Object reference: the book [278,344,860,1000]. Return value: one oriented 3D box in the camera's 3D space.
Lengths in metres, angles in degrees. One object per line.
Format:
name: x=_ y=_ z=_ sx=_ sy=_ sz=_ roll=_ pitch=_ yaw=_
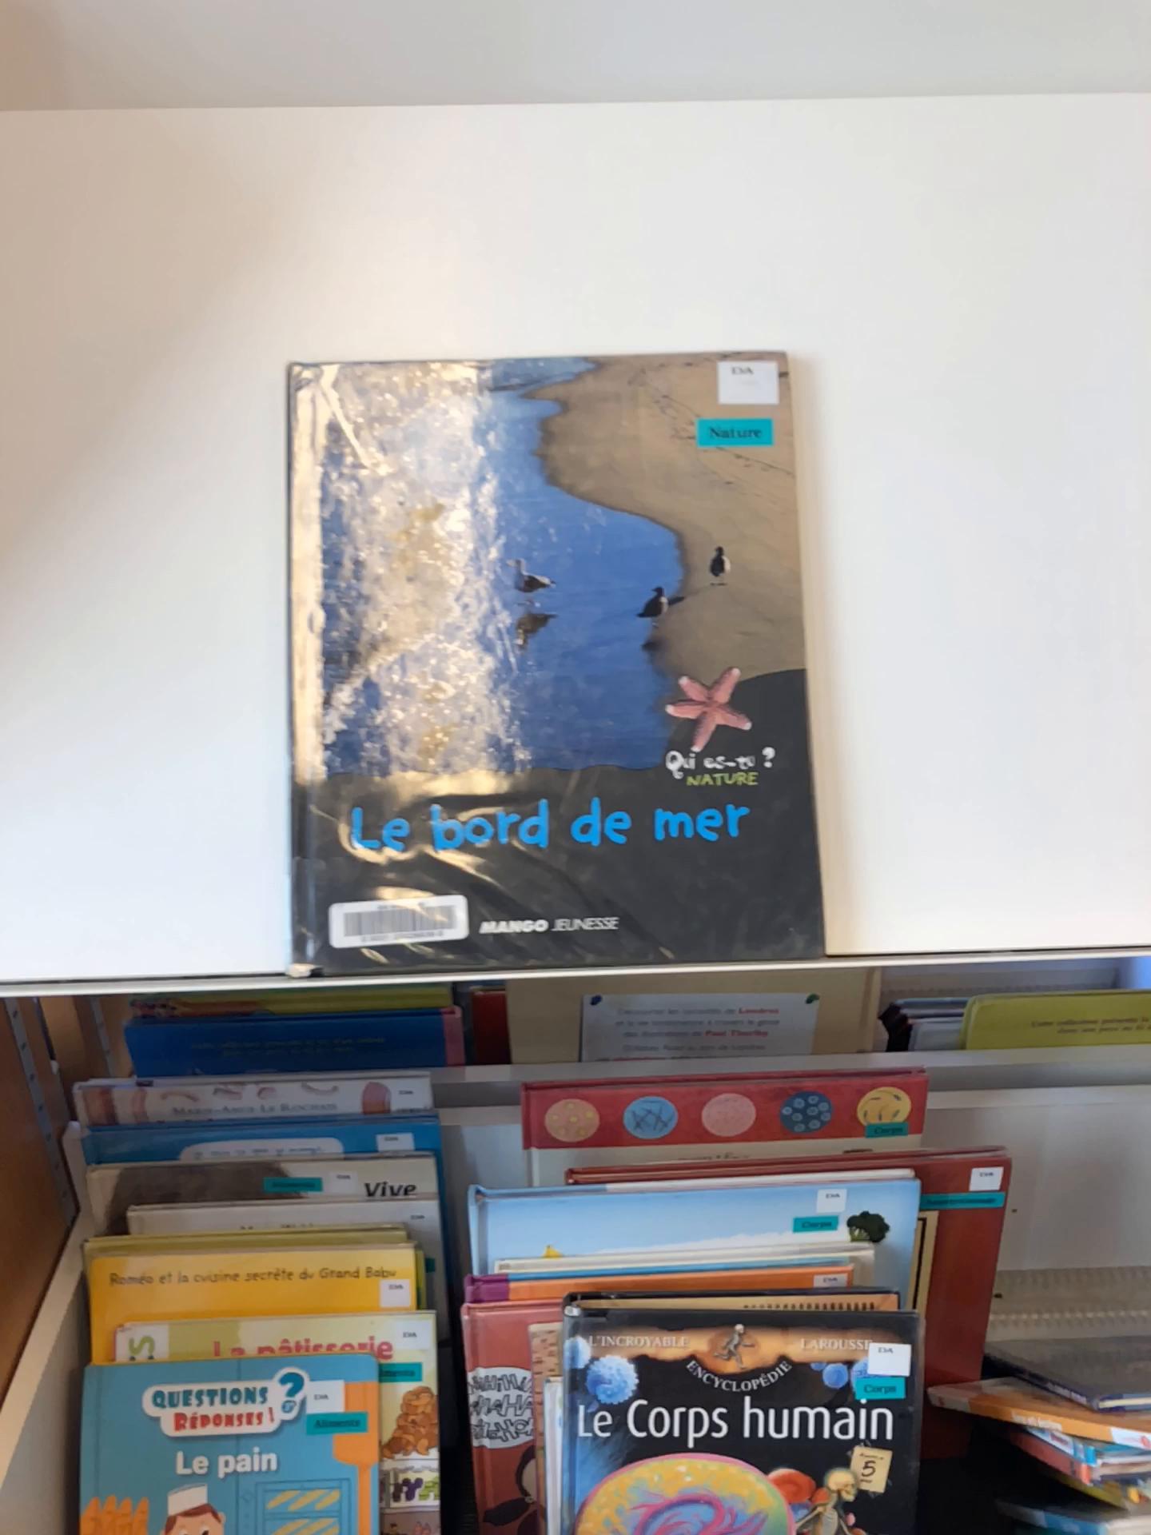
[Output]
book: x=-0.006 y=-0.040 z=0.485 sx=0.209 sy=0.245 sz=0.020 roll=-2 pitch=-9 yaw=-1
